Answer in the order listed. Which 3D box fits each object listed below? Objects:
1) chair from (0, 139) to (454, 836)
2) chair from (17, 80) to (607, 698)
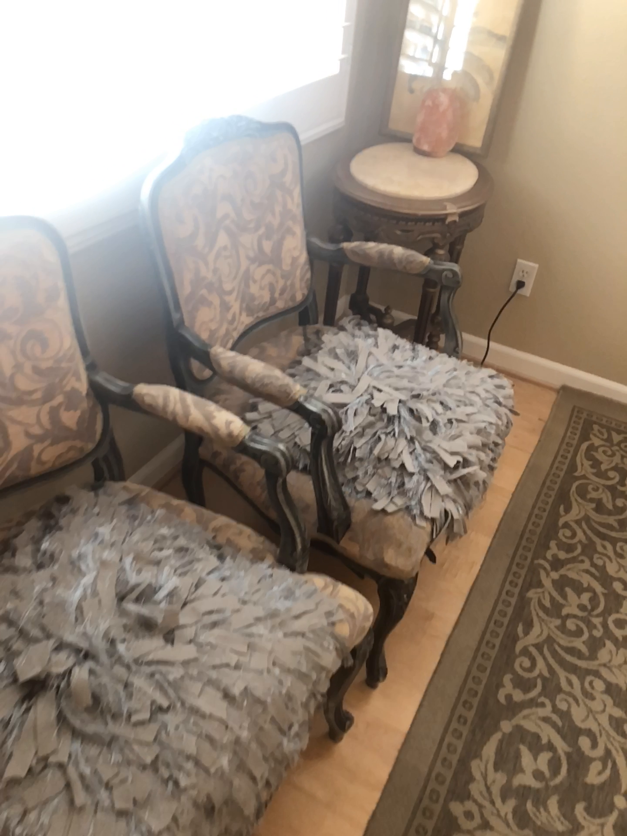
[{"bbox_3d":[-0.334,0.265,0.912,0.600,0.952,0.696,27,42,25],"label":"chair"},{"bbox_3d":[0.023,-0.122,1.471,0.780,0.852,0.746,21,40,19],"label":"chair"}]
